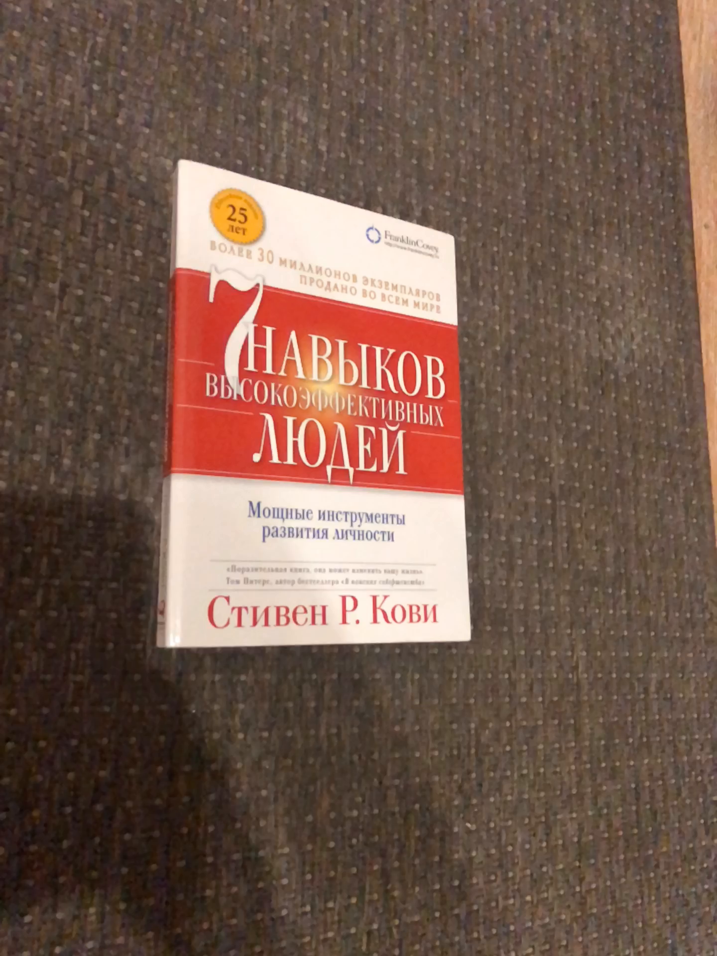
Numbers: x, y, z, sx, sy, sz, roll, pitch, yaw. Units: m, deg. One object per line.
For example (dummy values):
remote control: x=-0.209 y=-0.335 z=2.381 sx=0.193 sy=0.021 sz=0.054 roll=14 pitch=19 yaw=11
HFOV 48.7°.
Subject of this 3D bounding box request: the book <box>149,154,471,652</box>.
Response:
book: x=-0.018 y=-0.032 z=0.411 sx=0.166 sy=0.020 sz=0.236 roll=6 pitch=78 yaw=-29
